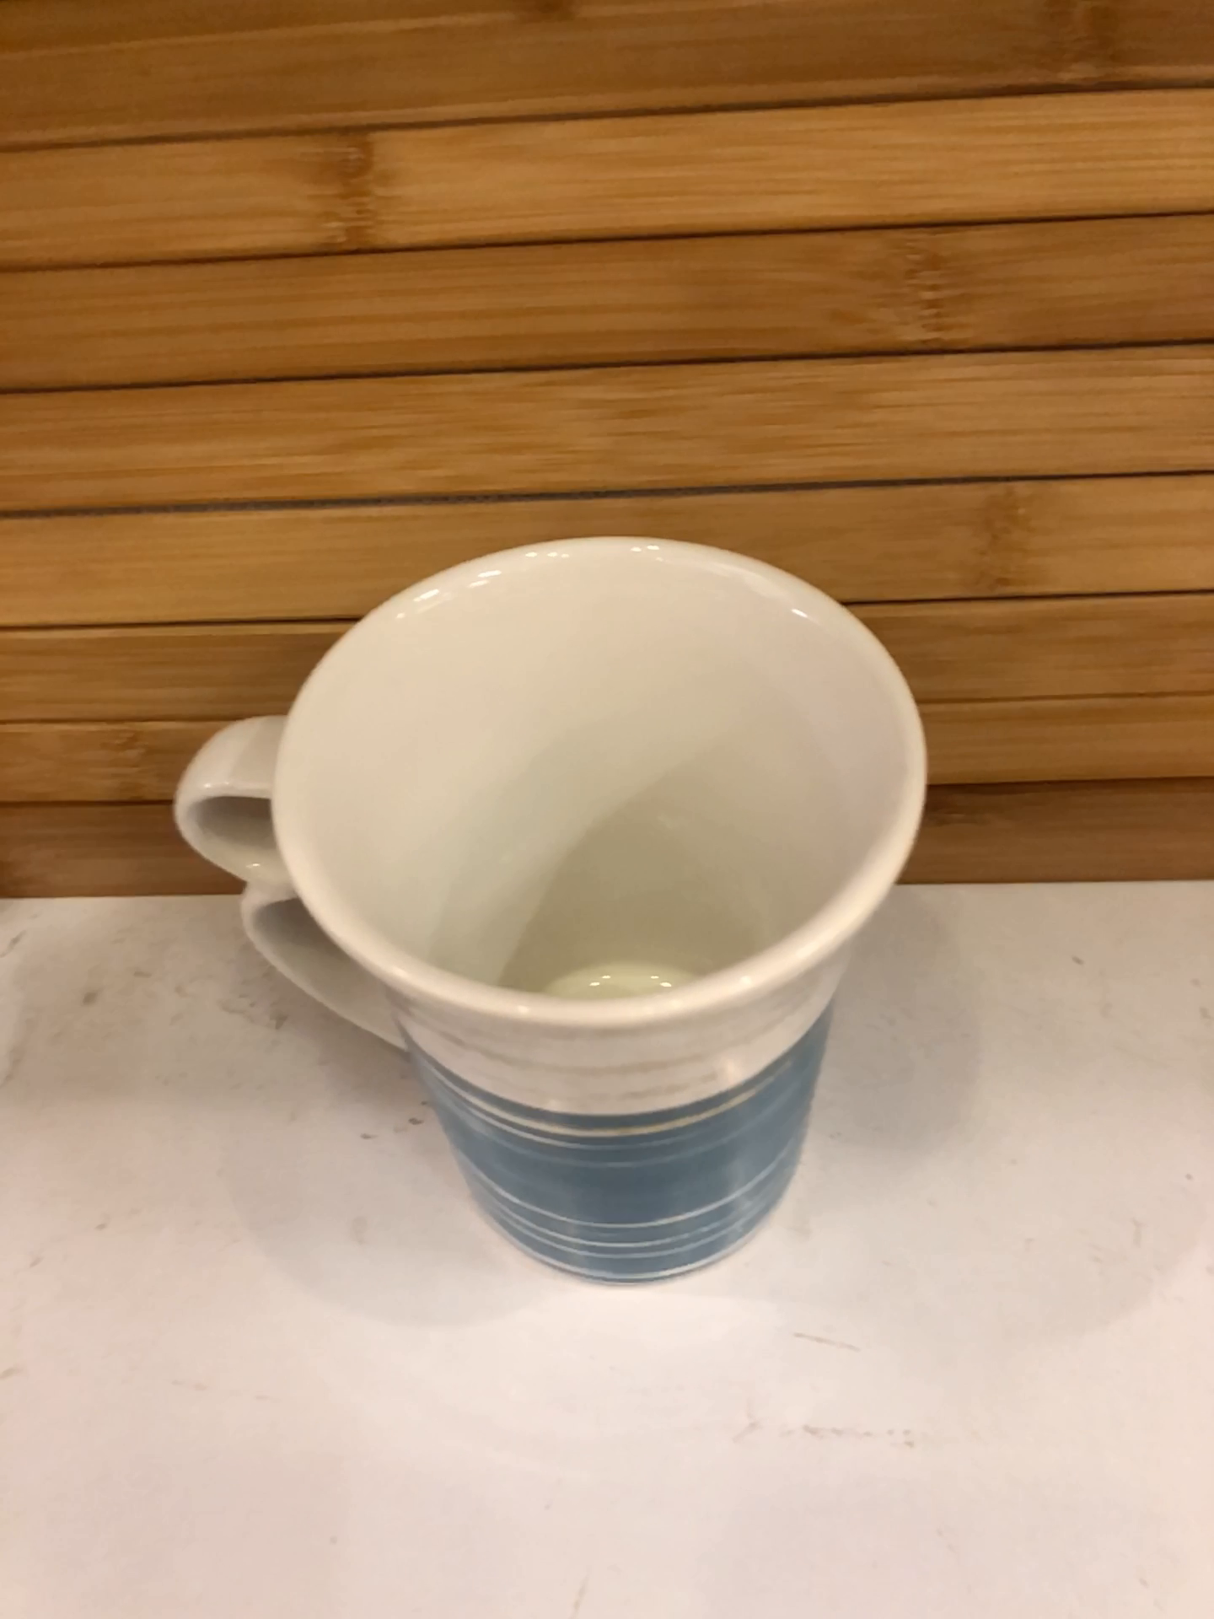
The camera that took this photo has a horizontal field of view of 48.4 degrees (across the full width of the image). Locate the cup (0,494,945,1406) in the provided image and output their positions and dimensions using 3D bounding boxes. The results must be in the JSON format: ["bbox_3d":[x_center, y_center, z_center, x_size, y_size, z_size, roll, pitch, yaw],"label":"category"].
[{"bbox_3d":[-0.017,0.020,0.211,0.120,0.089,0.090,7,51,11],"label":"cup"}]
